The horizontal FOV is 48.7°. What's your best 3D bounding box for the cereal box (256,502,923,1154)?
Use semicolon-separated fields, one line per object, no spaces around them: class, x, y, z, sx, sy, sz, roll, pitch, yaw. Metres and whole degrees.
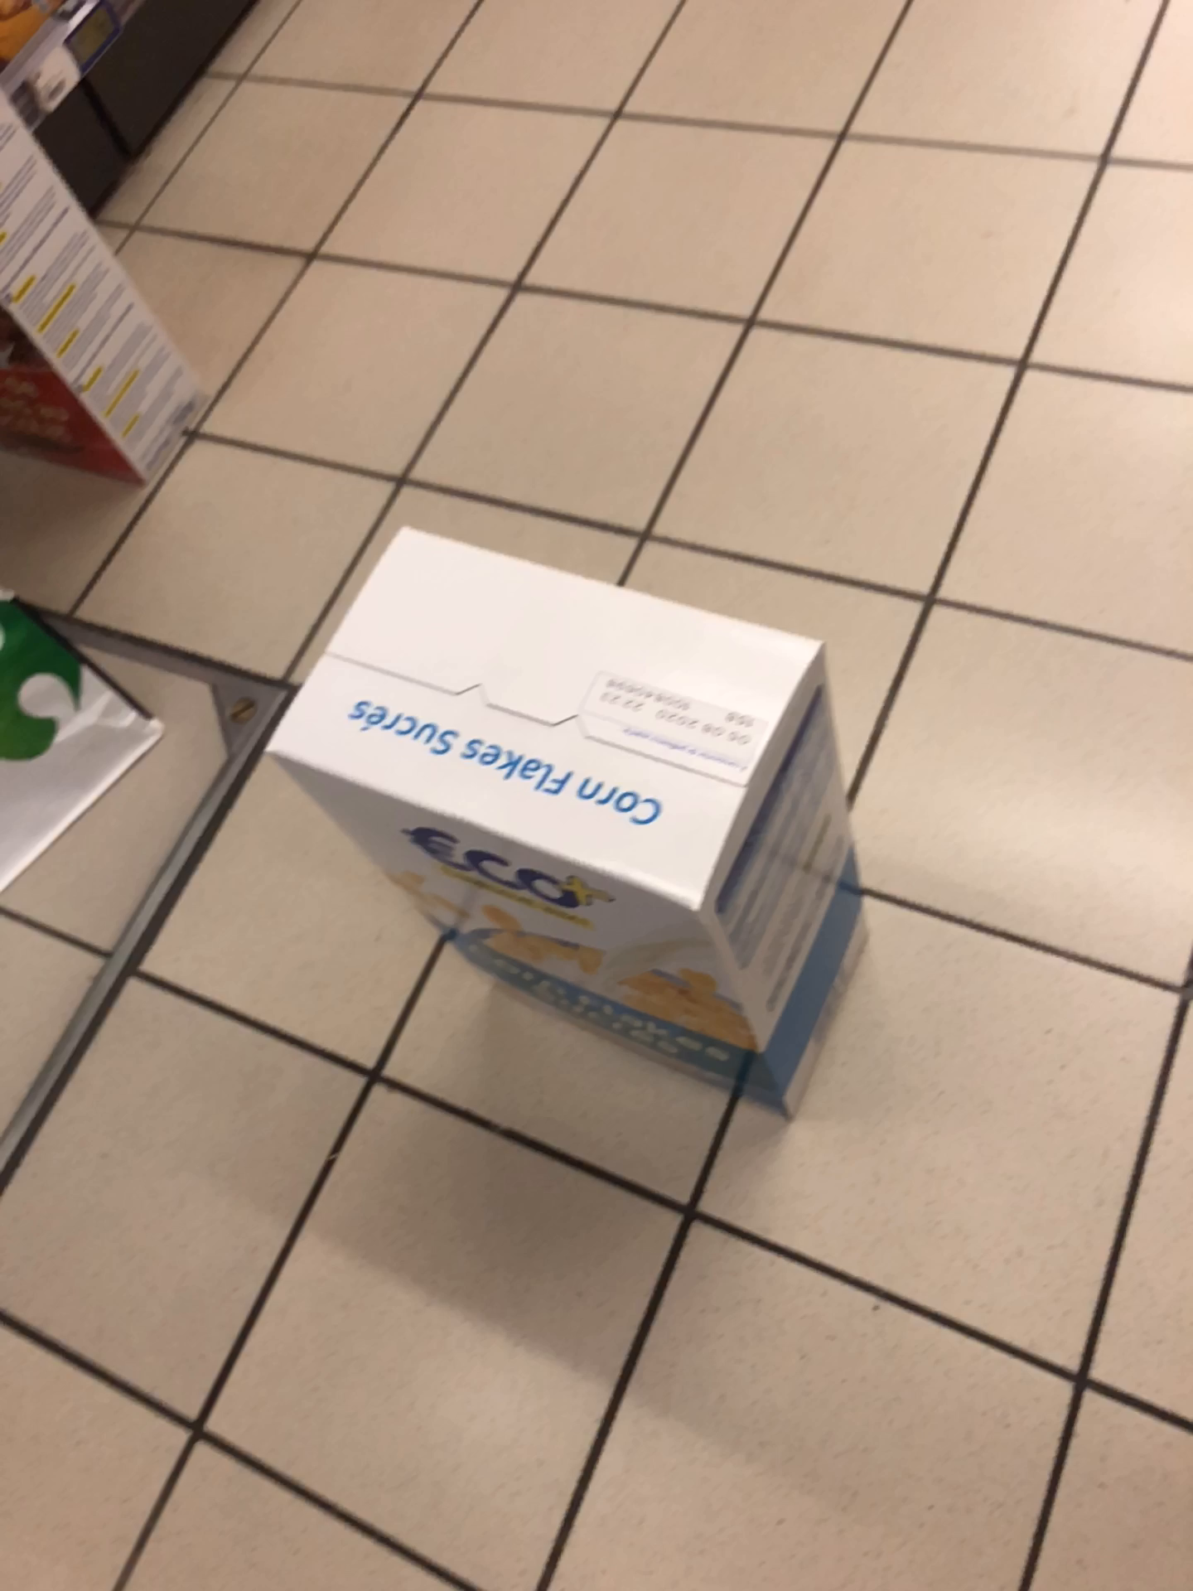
cereal box;0.025;0.032;0.612;0.210;0.299;0.130;19;70;23

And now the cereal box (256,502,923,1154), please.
cereal box;0.025;0.032;0.612;0.210;0.299;0.130;19;70;23
